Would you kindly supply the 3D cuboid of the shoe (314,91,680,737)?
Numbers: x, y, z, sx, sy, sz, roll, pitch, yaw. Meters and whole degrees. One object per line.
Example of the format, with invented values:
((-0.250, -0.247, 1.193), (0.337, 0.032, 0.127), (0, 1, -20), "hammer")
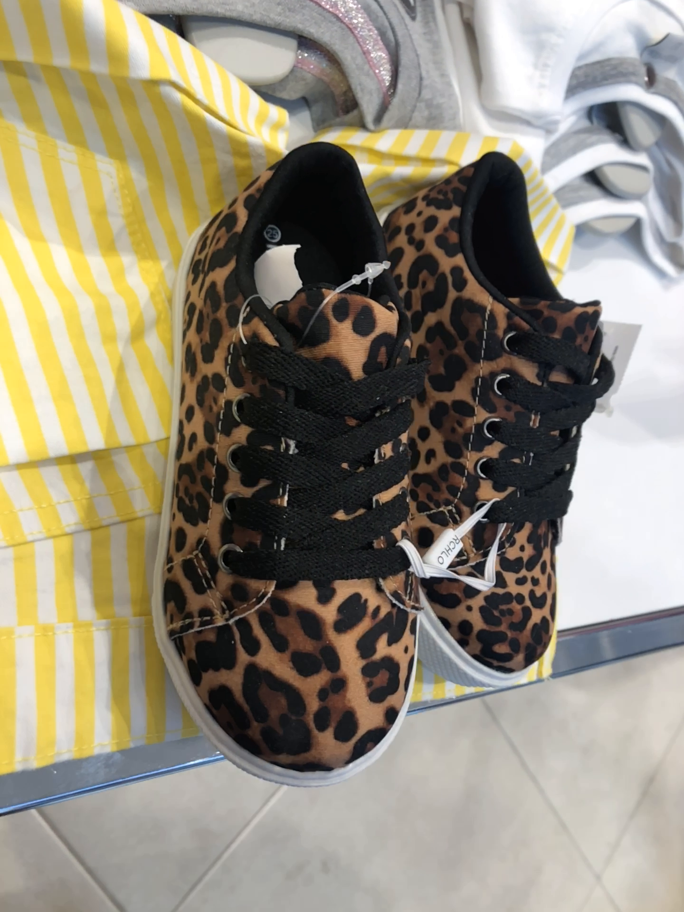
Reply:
((0.047, -0.009, 0.254), (0.080, 0.080, 0.170), (5, 81, -37), "shoe")

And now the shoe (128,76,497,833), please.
((-0.012, -0.003, 0.207), (0.080, 0.060, 0.170), (-1, 83, -10), "shoe")
